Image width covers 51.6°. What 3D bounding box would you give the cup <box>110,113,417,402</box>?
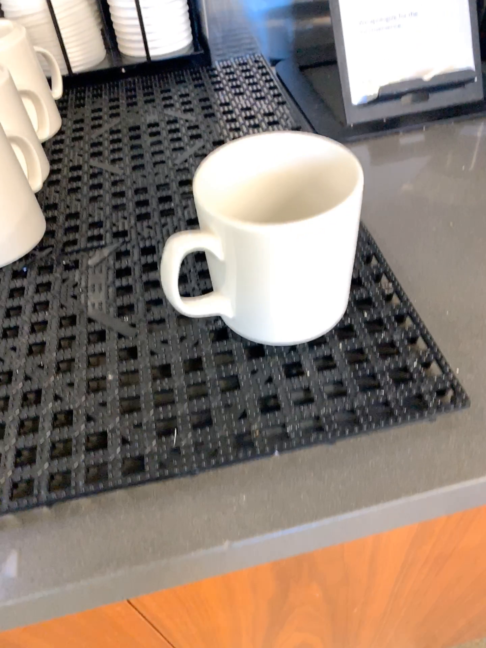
[{"bbox_3d":[0.011,-0.041,0.275,0.120,0.080,0.090,-30,52,-19],"label":"cup"}]
